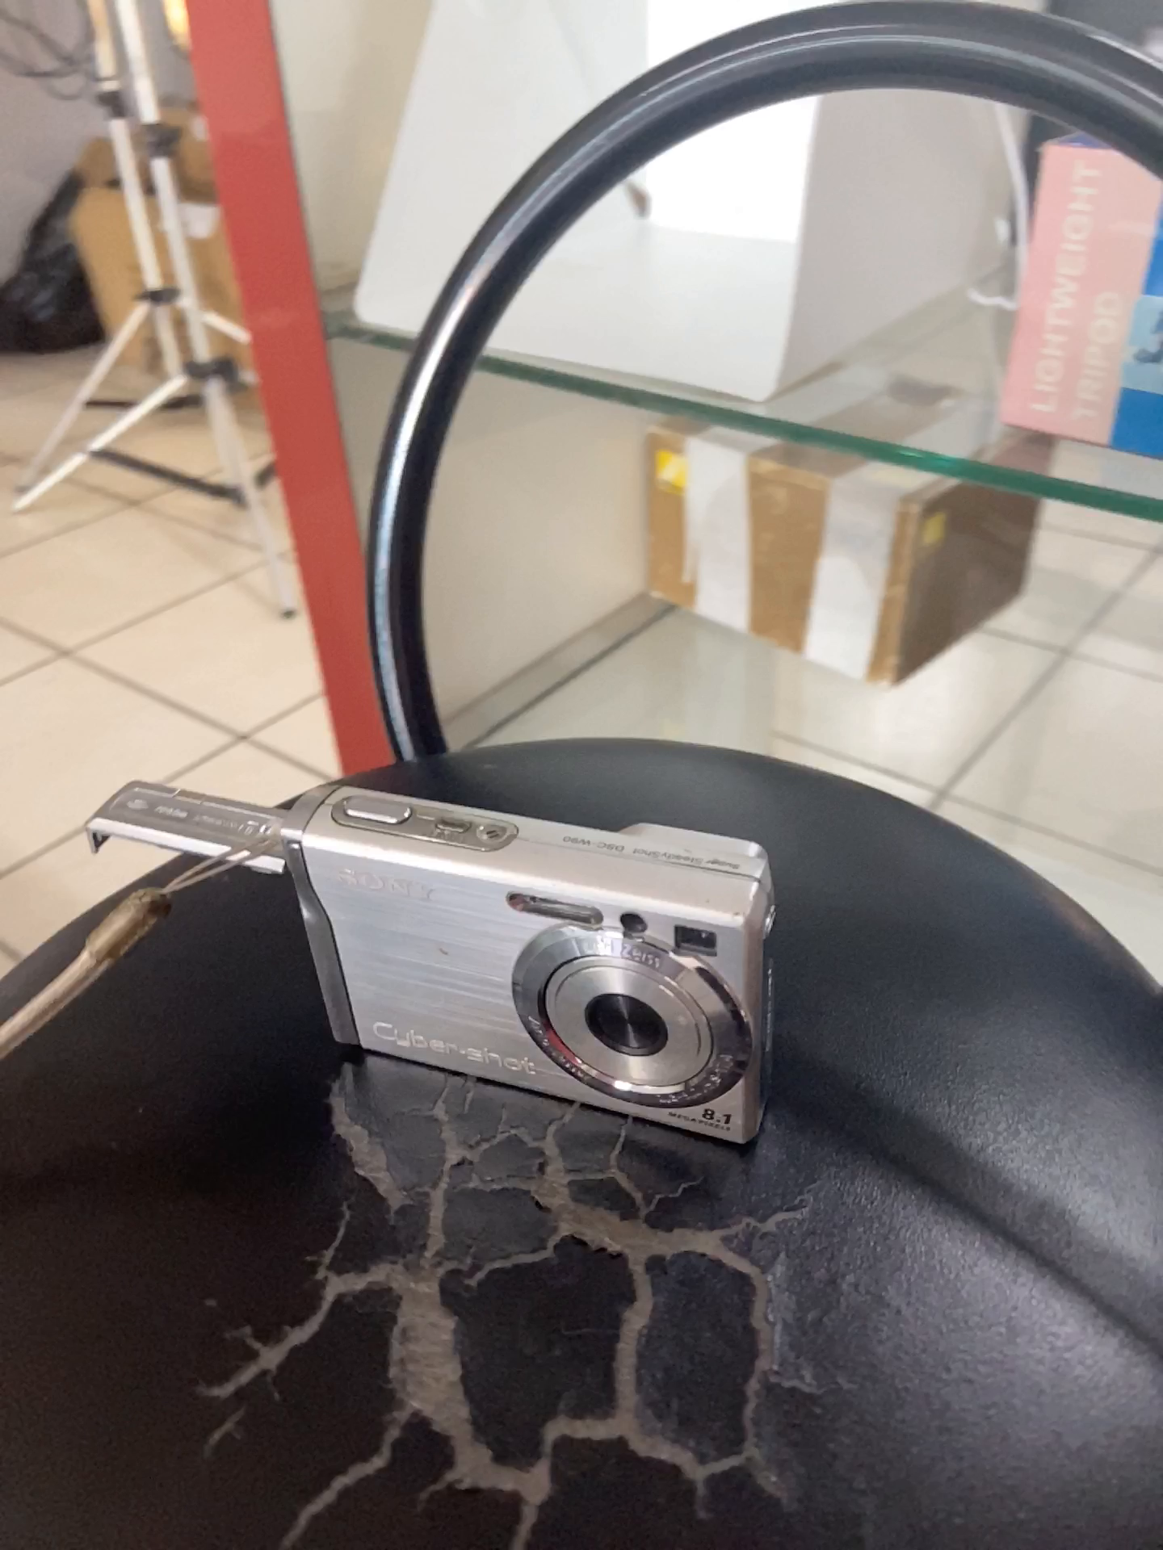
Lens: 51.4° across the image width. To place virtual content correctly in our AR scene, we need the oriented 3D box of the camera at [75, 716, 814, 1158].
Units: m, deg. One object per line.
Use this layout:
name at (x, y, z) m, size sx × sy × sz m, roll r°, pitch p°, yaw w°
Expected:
camera at (-0.027, 0.029, 0.237) m, size 0.136 × 0.053 × 0.030 m, roll 10°, pitch 37°, yaw 18°
